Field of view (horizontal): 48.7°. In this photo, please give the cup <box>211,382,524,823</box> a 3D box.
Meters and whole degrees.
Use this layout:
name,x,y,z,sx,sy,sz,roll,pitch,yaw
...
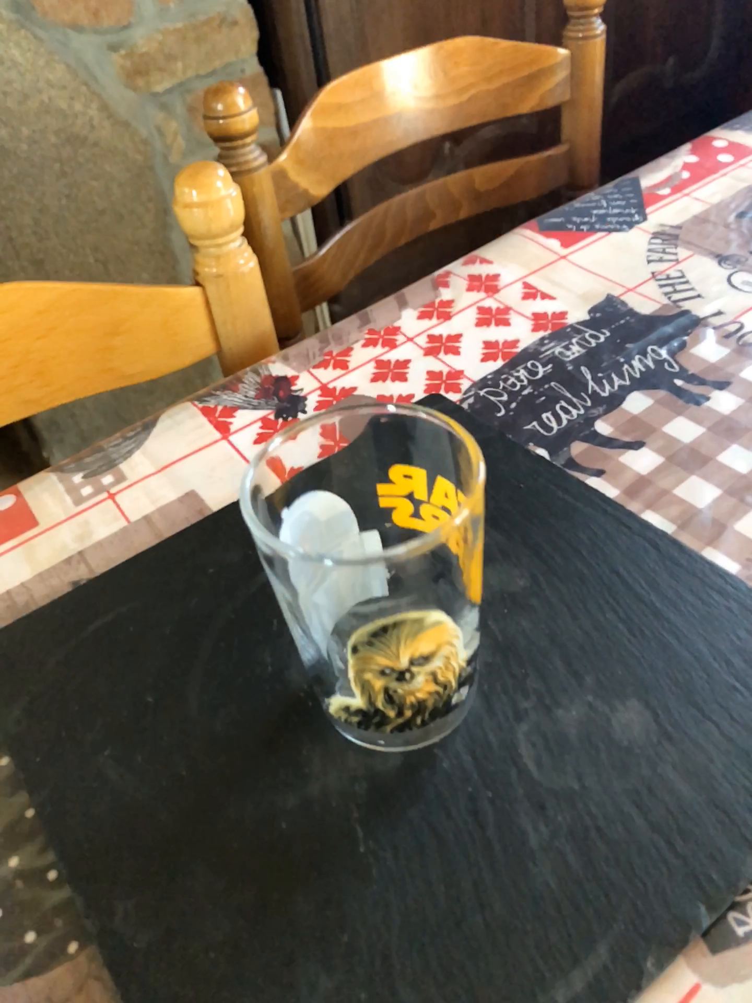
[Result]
name,x,y,z,sx,sy,sz,roll,pitch,yaw
cup,0.000,0.031,0.245,0.070,0.099,0.070,-5,40,5
